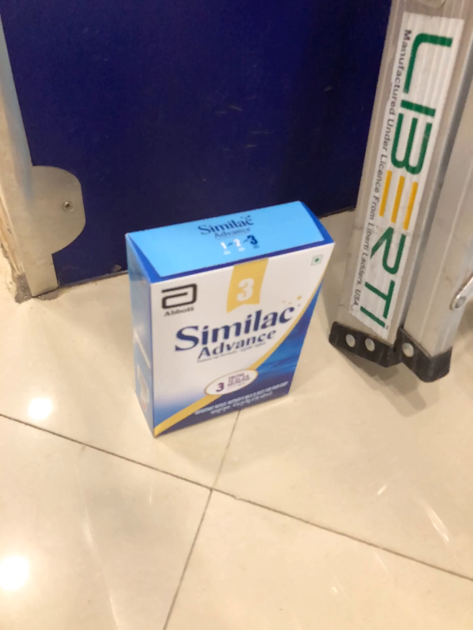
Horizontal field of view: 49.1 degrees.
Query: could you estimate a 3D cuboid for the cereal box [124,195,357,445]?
[{"bbox_3d":[-0.007,0.013,0.403,0.140,0.199,0.050,-14,54,-19],"label":"cereal box"}]
